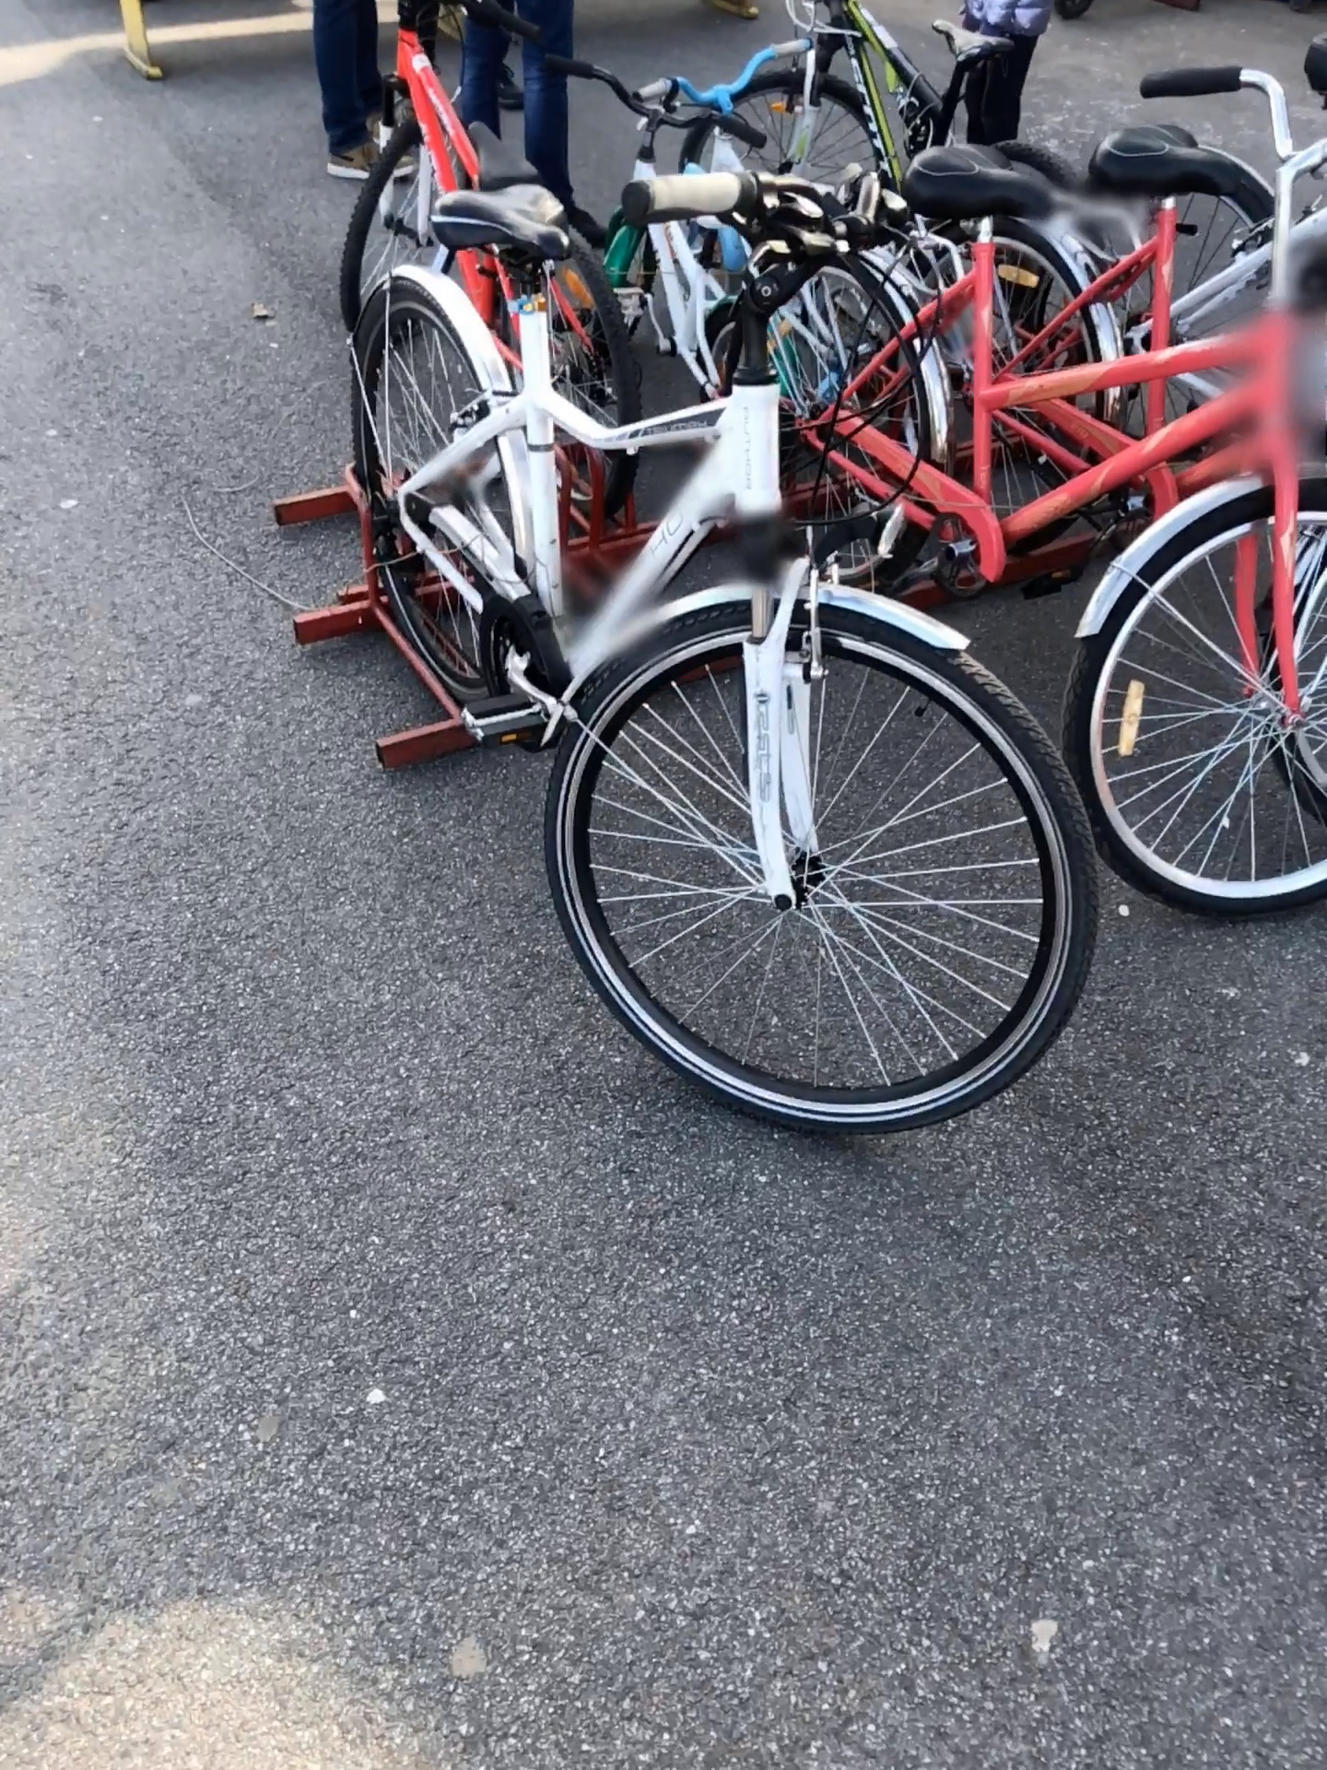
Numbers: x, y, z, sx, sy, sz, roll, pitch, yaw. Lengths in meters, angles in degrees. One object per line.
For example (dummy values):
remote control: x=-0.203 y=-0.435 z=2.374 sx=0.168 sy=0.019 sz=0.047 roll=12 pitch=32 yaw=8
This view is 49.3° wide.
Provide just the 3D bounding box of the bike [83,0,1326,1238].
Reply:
bike: x=-0.002 y=-0.547 z=2.008 sx=0.646 sy=1.111 sz=1.703 roll=-28 pitch=48 yaw=-26
